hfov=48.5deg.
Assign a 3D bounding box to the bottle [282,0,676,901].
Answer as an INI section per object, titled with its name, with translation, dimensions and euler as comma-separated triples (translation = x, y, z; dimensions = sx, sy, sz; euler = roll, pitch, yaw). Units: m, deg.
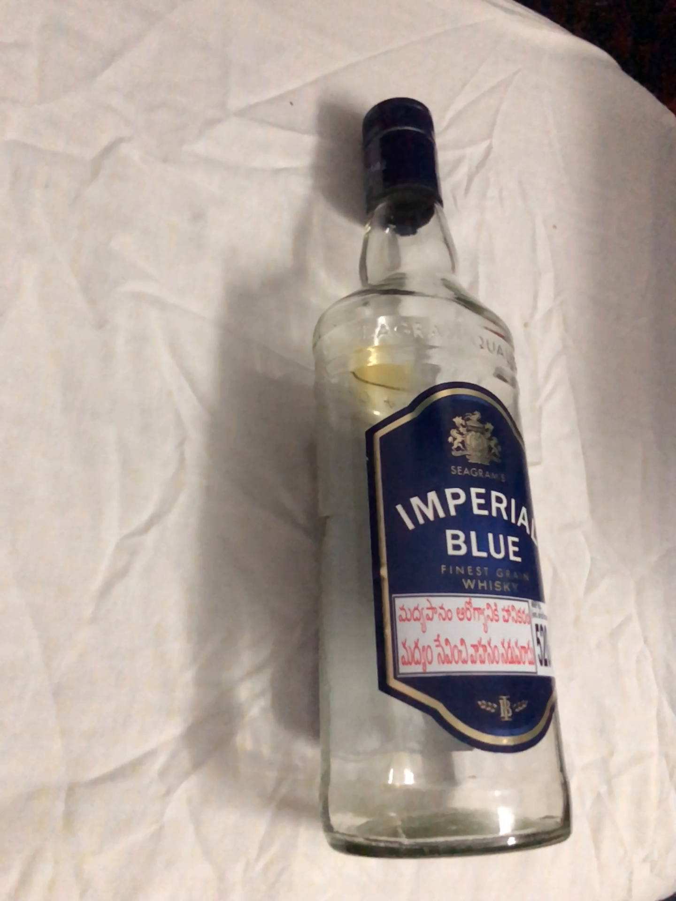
[bottle]
translation = 0.045, -0.002, 0.254
dimensions = 0.090, 0.080, 0.270
euler = 9, 75, -25
